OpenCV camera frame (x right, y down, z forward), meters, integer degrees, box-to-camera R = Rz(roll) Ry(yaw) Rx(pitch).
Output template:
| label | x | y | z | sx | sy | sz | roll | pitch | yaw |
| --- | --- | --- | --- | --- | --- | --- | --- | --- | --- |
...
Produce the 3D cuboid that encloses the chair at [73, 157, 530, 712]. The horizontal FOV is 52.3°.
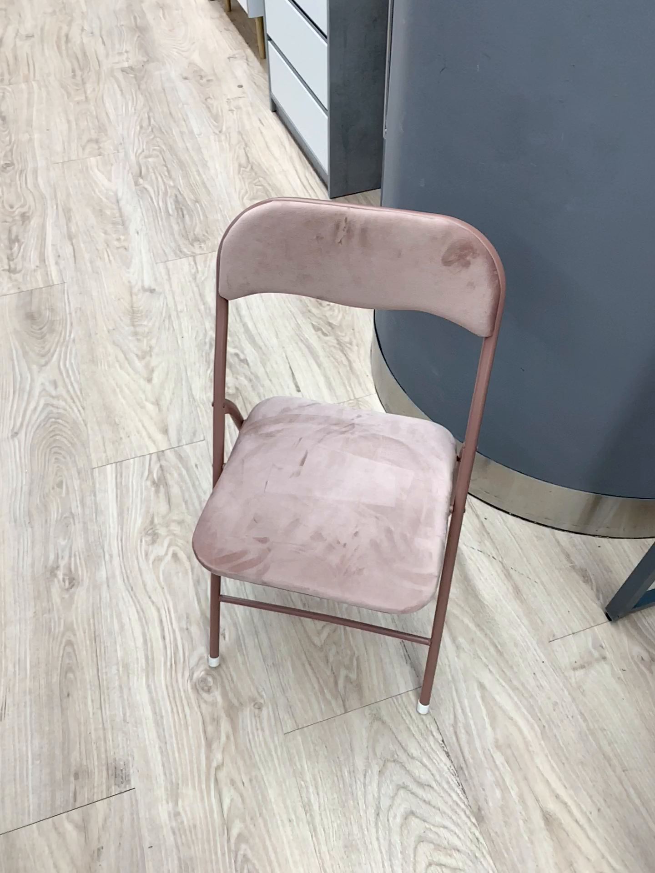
| label | x | y | z | sx | sy | sz | roll | pitch | yaw |
| --- | --- | --- | --- | --- | --- | --- | --- | --- | --- |
| chair | 0.012 | 0.054 | 1.117 | 0.460 | 0.797 | 0.482 | 8 | 52 | 7 |
